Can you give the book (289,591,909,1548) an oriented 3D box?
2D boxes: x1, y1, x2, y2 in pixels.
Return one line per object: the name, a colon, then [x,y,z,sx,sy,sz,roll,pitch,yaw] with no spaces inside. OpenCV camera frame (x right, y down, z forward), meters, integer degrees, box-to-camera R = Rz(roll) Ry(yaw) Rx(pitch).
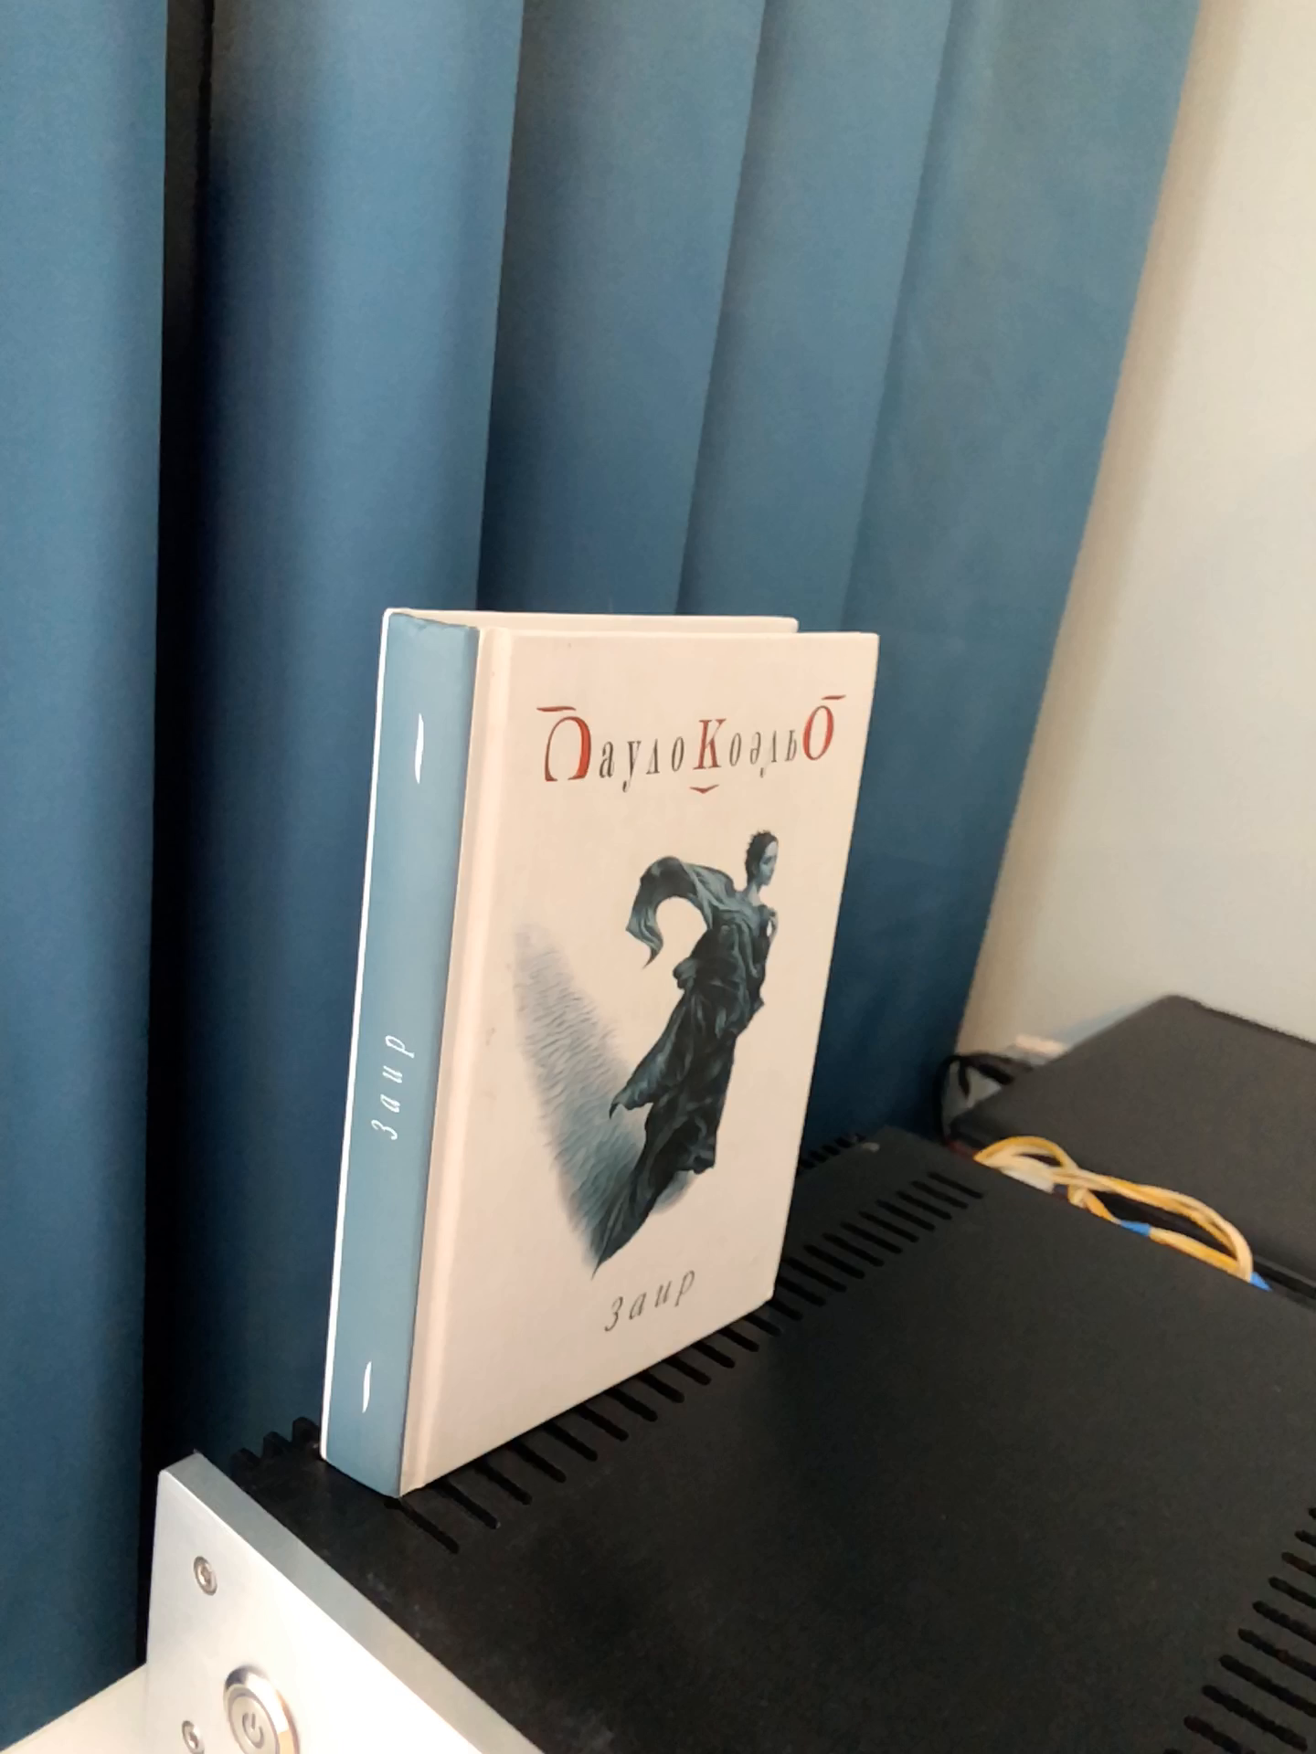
book: [-0.010,0.032,0.315,0.030,0.179,0.130,20,20,40]
